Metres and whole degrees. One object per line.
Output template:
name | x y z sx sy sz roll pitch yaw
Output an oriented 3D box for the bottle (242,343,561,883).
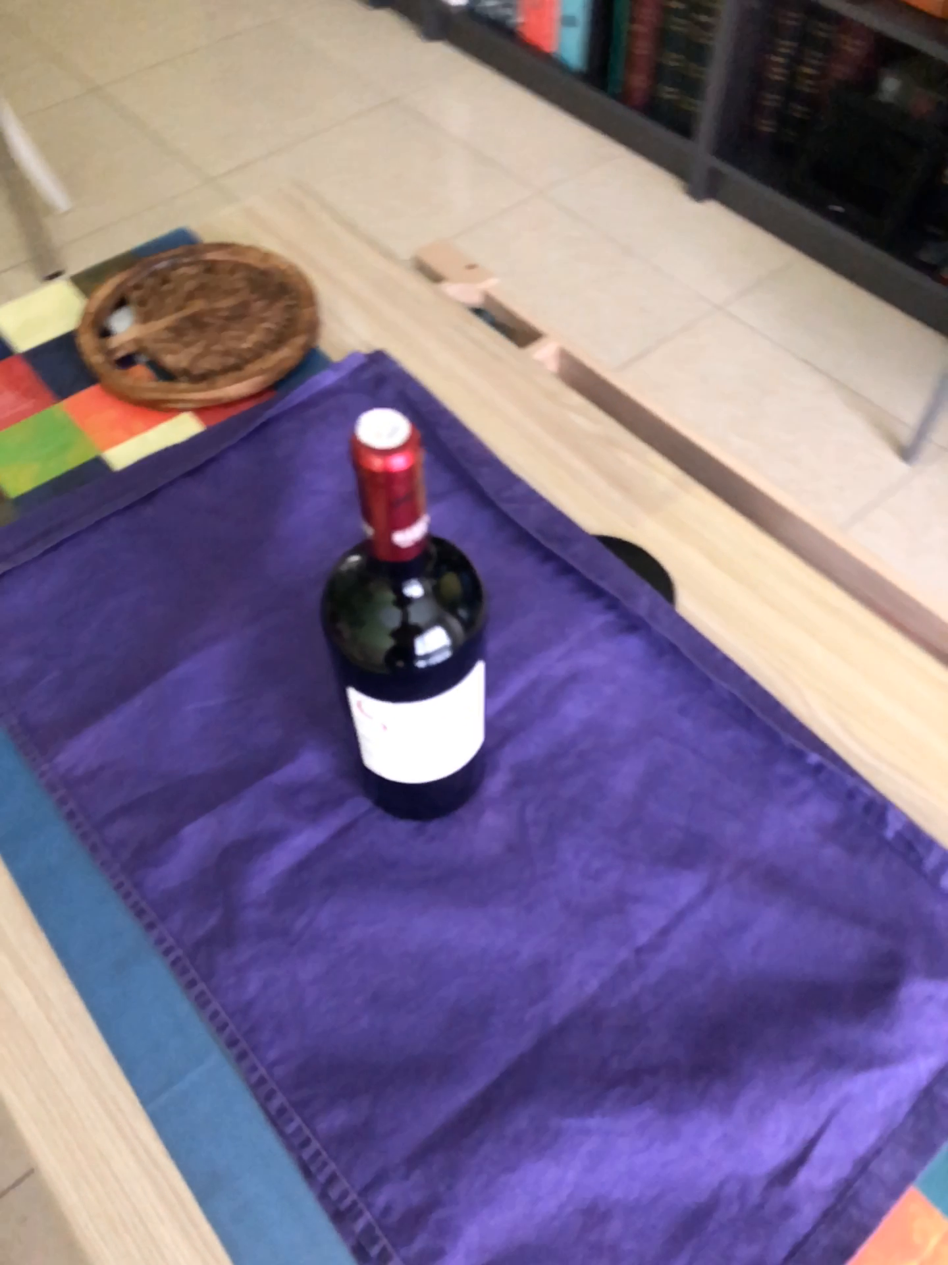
bottle | -0.028 0.010 0.494 0.090 0.269 0.090 0 54 1
